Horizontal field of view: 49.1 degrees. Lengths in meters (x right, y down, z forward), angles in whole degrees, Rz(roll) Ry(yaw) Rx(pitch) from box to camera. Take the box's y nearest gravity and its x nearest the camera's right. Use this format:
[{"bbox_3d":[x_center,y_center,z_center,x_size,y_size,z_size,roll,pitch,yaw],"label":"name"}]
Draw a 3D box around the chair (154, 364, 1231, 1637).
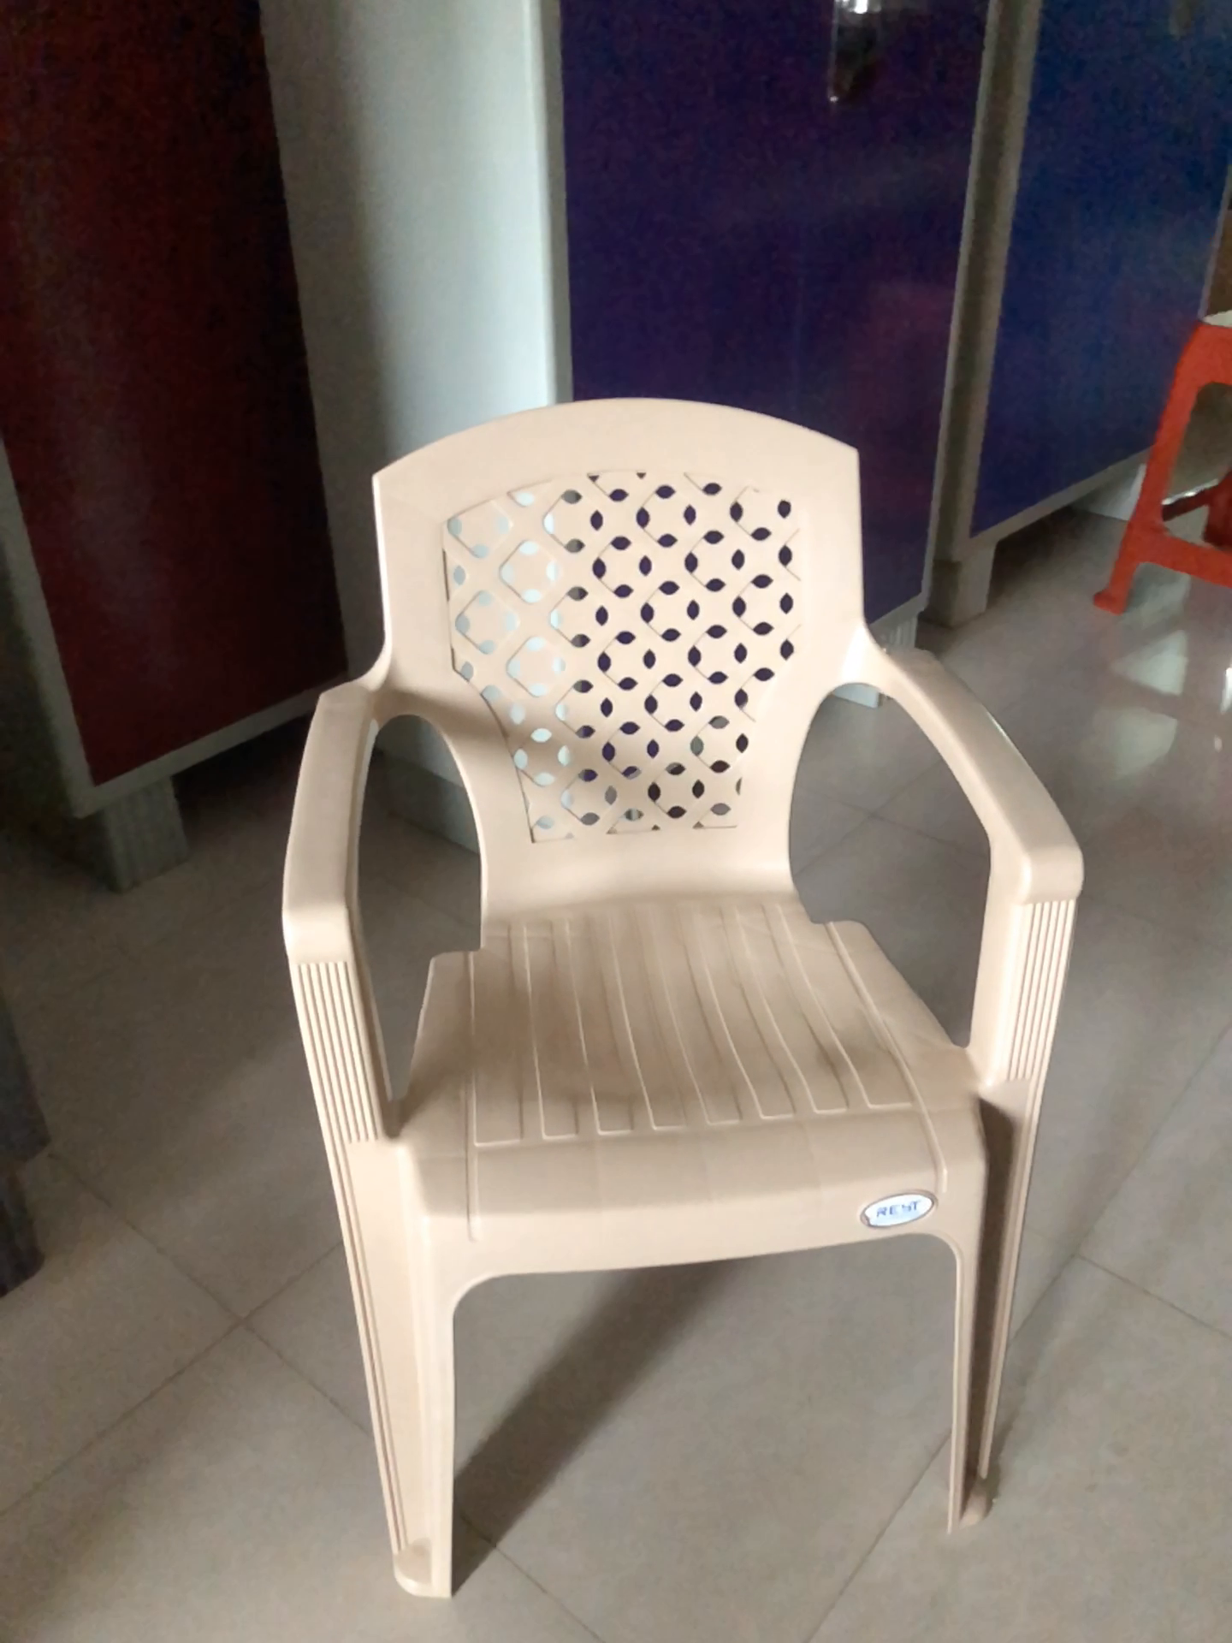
[{"bbox_3d":[0.038,0.125,1.090,0.540,0.796,0.563,-5,33,-4],"label":"chair"}]
